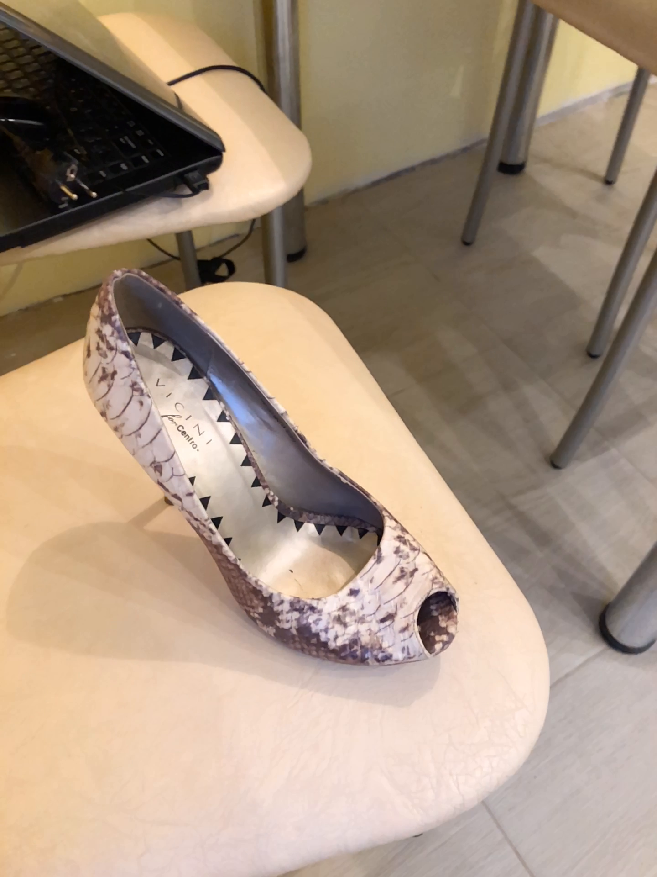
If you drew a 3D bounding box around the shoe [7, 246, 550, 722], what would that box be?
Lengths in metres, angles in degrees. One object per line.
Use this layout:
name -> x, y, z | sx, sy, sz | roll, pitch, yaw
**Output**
shoe -> -0.024, 0.020, 0.332 | 0.200, 0.129, 0.080 | 27, 57, 19
